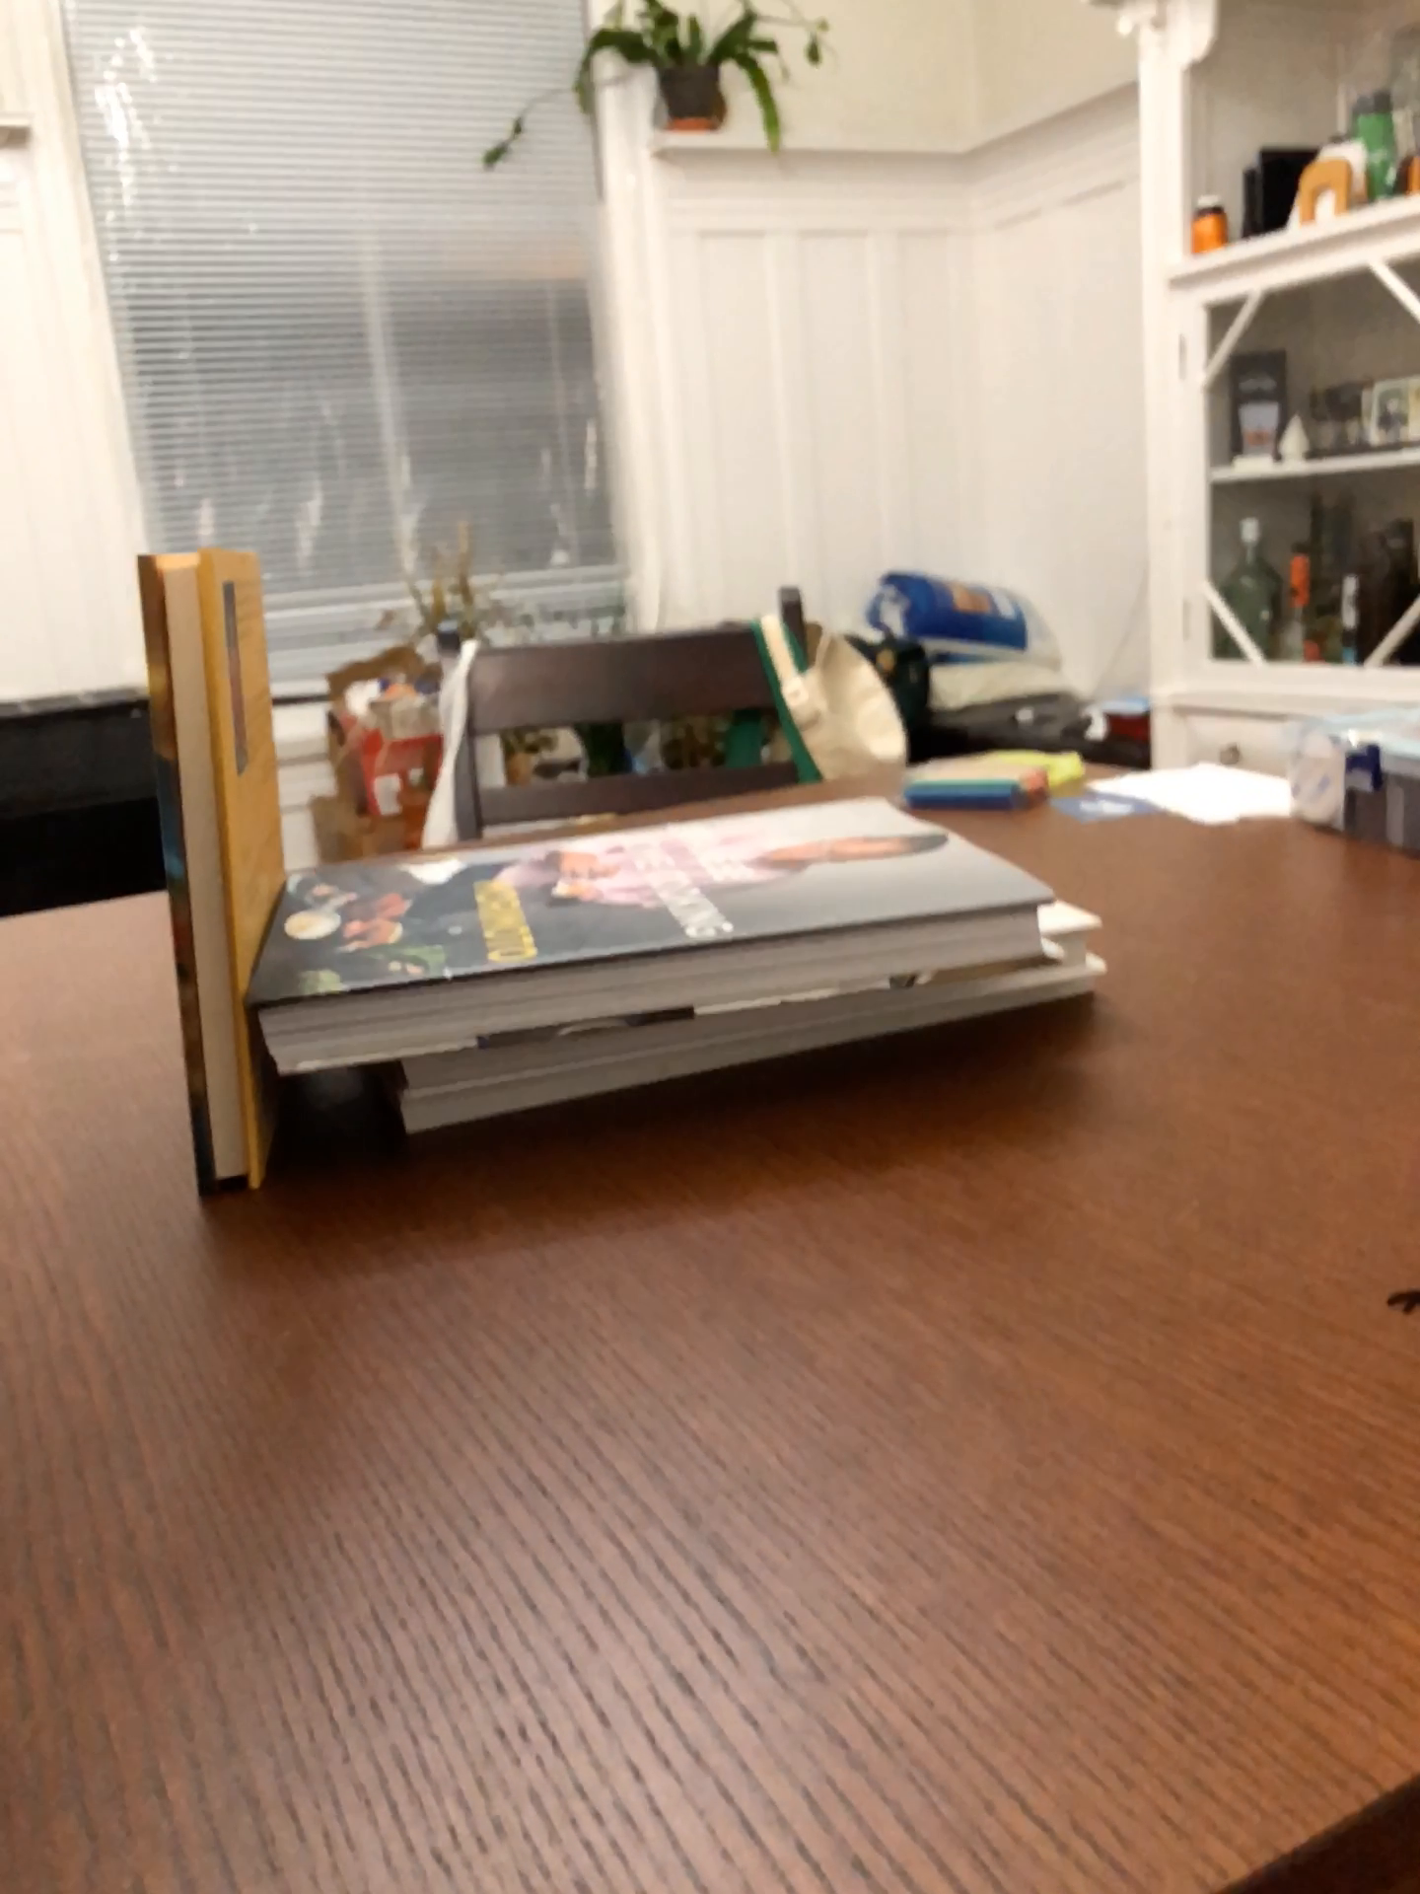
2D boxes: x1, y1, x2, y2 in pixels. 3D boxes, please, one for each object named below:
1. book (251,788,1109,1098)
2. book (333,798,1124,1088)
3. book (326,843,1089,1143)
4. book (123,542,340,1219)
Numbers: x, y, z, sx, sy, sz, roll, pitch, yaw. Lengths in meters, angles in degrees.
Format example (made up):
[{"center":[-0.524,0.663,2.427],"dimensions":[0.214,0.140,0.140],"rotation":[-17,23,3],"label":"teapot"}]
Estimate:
[{"center":[-0.025,-0.014,0.613],"dimensions":[0.280,0.030,0.221],"rotation":[-9,15,-10],"label":"book"},{"center":[-0.008,-0.014,0.670],"dimensions":[0.280,0.030,0.221],"rotation":[-10,15,-15],"label":"book"},{"center":[-0.015,0.007,0.700],"dimensions":[0.280,0.030,0.221],"rotation":[-11,15,-18],"label":"book"},{"center":[-0.169,-0.041,0.585],"dimensions":[0.030,0.209,0.211],"rotation":[-5,15,-9],"label":"book"}]
